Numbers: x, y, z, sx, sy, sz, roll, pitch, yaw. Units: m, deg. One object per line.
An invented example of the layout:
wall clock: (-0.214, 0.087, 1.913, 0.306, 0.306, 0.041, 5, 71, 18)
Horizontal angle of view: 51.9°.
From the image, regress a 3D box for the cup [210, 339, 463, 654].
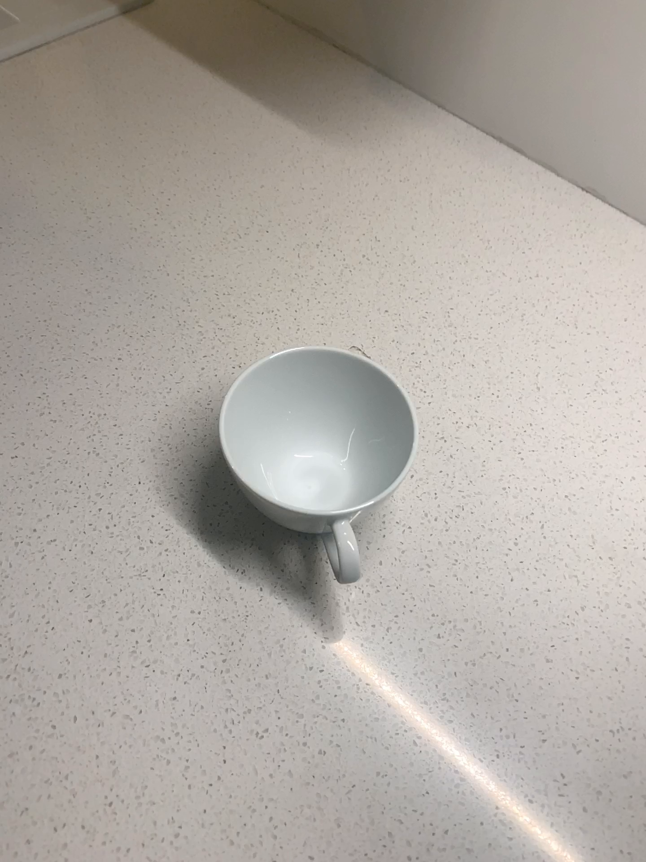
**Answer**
cup: (-0.001, 0.027, 0.316, 0.090, 0.050, 0.130, -7, 59, -8)

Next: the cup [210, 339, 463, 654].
cup: (-0.001, 0.027, 0.316, 0.090, 0.050, 0.130, -7, 59, -8)
